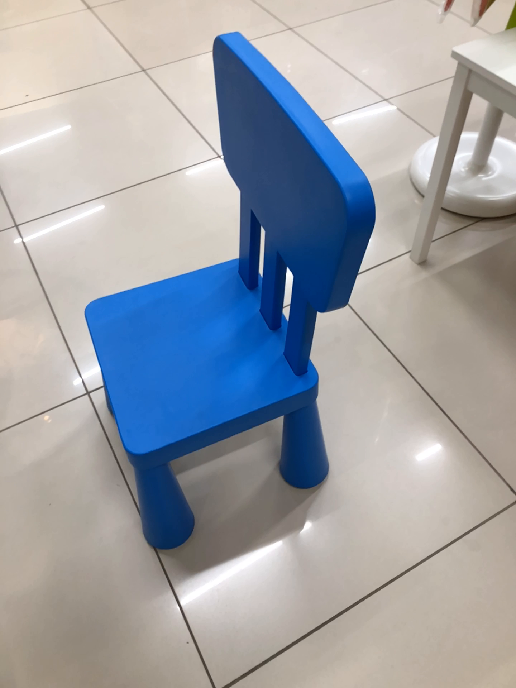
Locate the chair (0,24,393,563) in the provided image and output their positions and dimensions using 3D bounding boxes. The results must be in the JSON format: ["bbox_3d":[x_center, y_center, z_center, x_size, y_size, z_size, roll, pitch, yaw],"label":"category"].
[{"bbox_3d":[-0.098,-0.018,0.840,0.355,0.666,0.357,-19,54,-12],"label":"chair"}]
